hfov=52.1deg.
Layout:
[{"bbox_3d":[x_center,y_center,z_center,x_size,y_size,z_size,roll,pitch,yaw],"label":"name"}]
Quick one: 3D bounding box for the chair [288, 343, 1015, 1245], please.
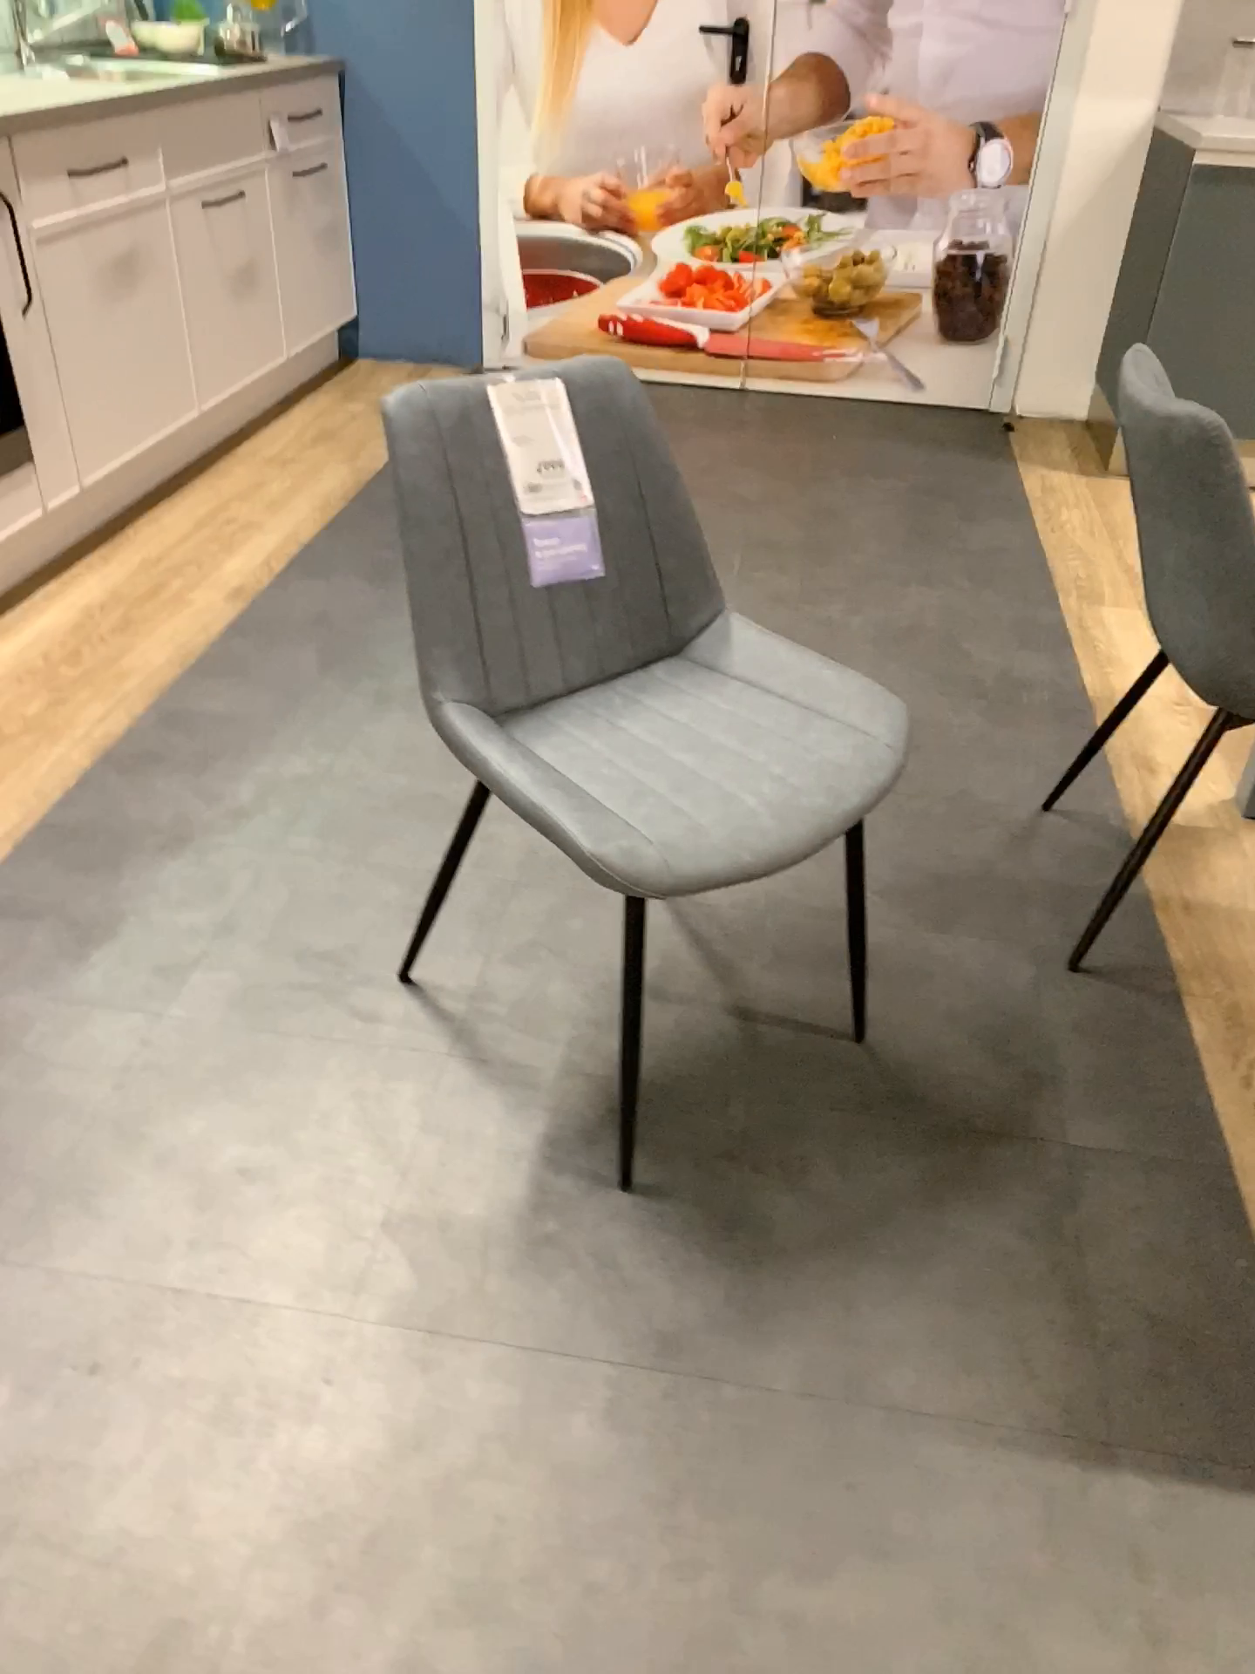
[{"bbox_3d":[-0.002,-0.086,1.609,0.524,0.833,0.590,-23,42,-33],"label":"chair"}]
